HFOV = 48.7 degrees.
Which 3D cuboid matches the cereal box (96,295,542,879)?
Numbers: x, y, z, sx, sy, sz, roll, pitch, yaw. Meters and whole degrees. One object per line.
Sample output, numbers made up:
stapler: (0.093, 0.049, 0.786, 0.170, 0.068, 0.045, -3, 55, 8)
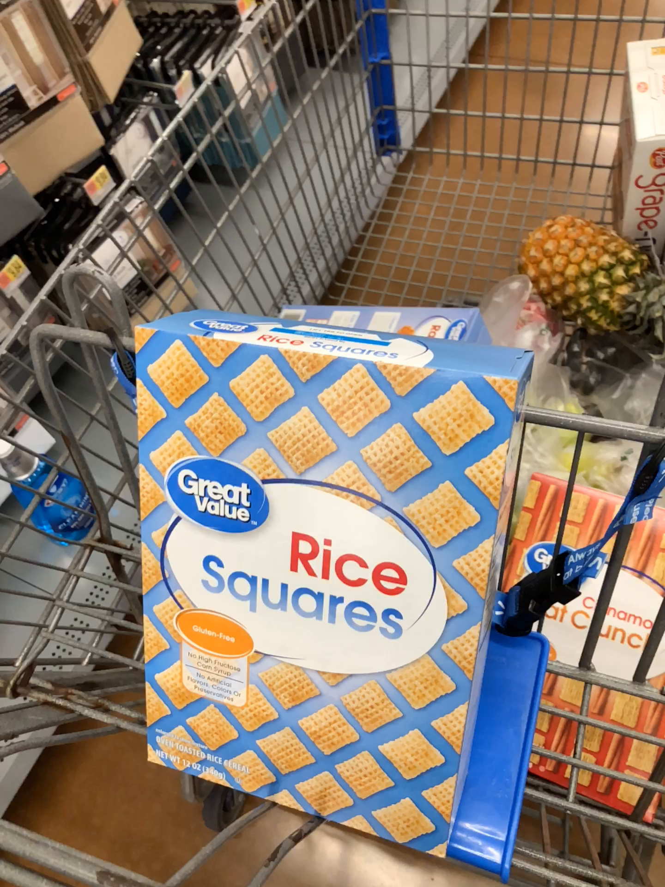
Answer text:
cereal box: (-0.014, 0.073, 0.416, 0.210, 0.280, 0.080, 10, 20, 17)
